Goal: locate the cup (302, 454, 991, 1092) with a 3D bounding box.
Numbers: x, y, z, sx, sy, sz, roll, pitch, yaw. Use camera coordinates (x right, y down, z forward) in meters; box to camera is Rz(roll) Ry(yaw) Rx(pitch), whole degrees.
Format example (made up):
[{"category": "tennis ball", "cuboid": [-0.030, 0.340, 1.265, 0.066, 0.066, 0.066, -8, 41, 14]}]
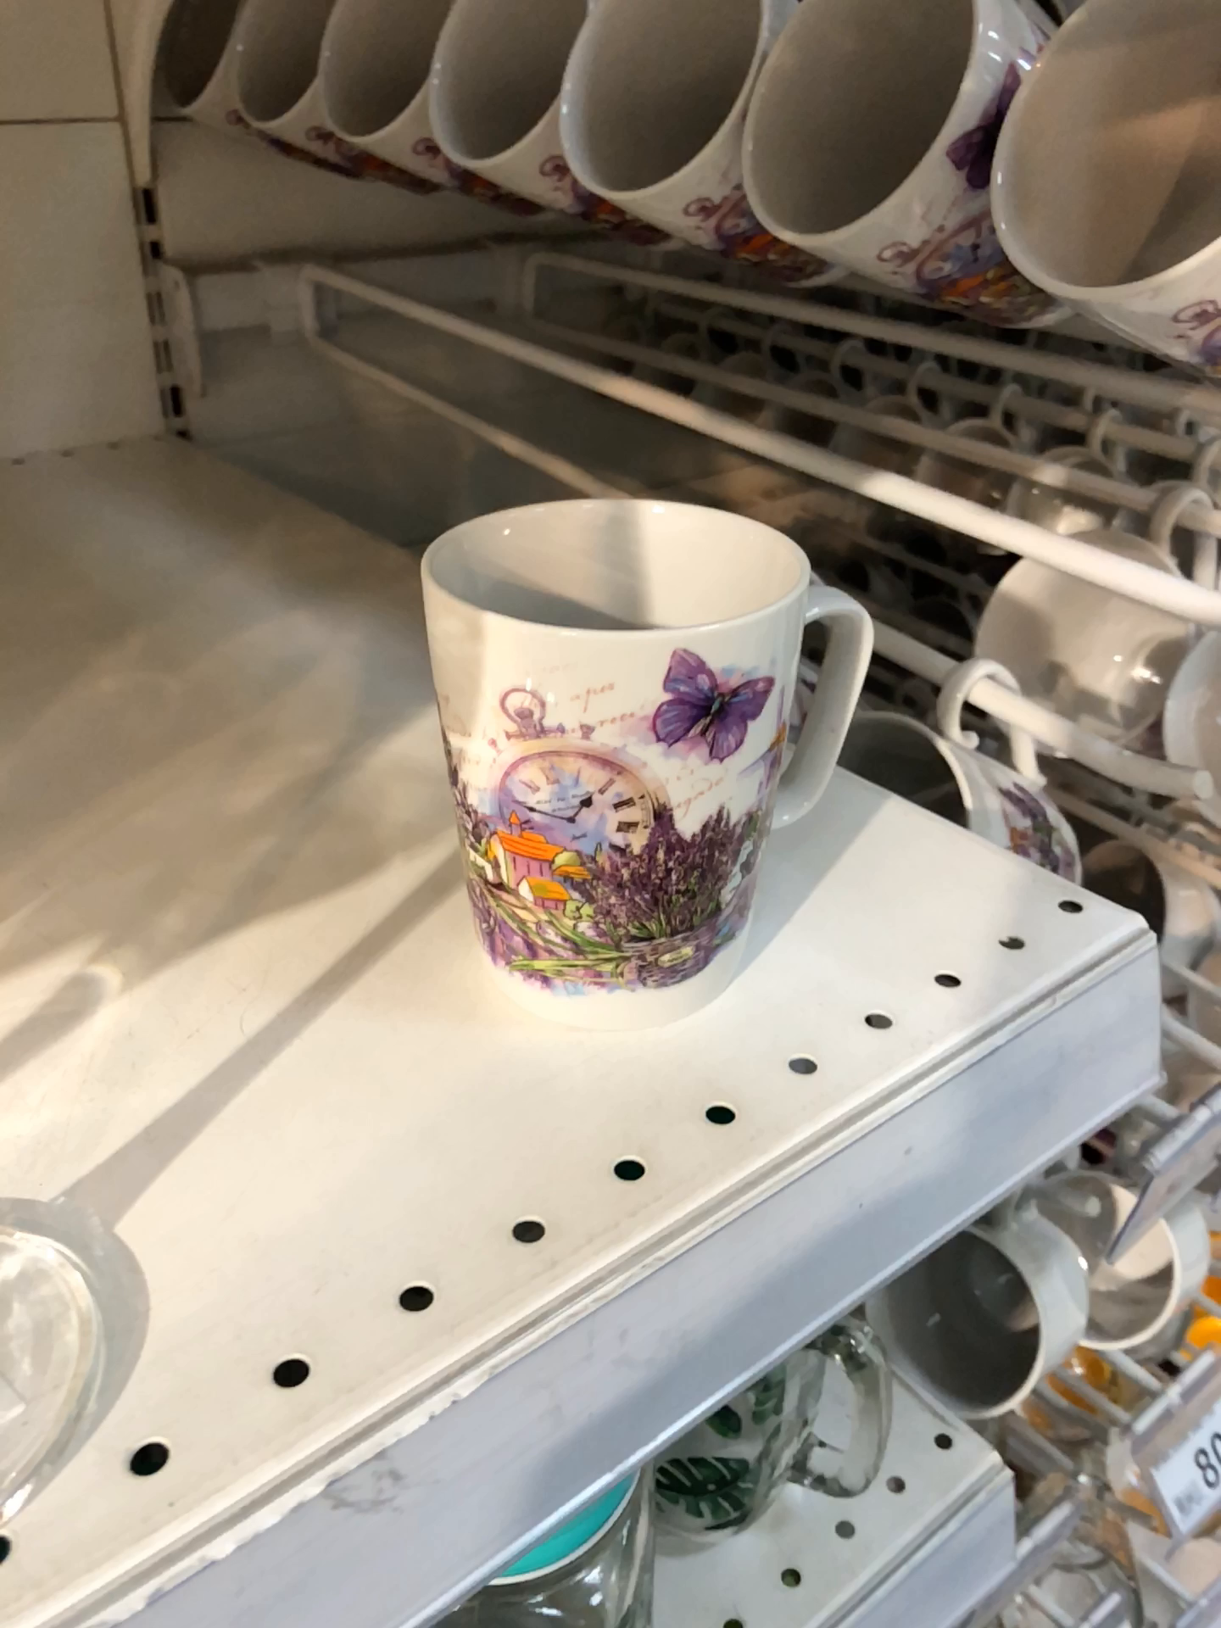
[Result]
[{"category": "cup", "cuboid": [0.005, -0.017, 0.307, 0.119, 0.094, 0.082, -15, 36, -25]}]
